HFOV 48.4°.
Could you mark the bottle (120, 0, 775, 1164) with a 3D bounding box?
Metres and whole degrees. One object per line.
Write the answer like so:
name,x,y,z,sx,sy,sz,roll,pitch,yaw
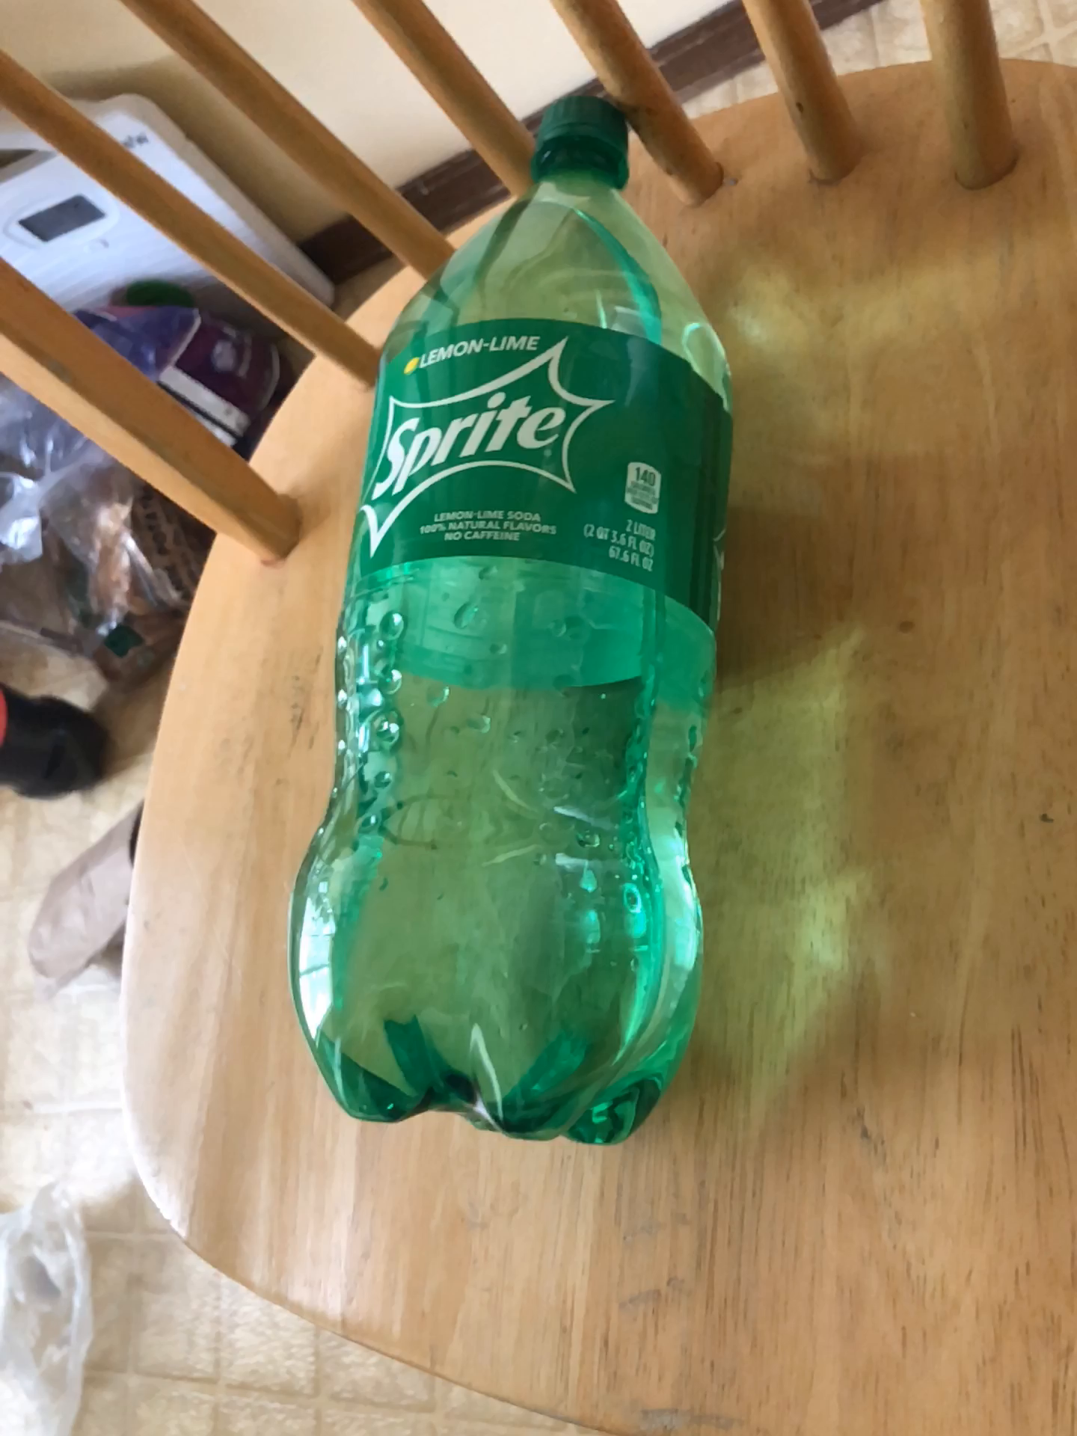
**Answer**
bottle,-0.006,-0.044,0.325,0.110,0.110,0.300,-3,71,24
